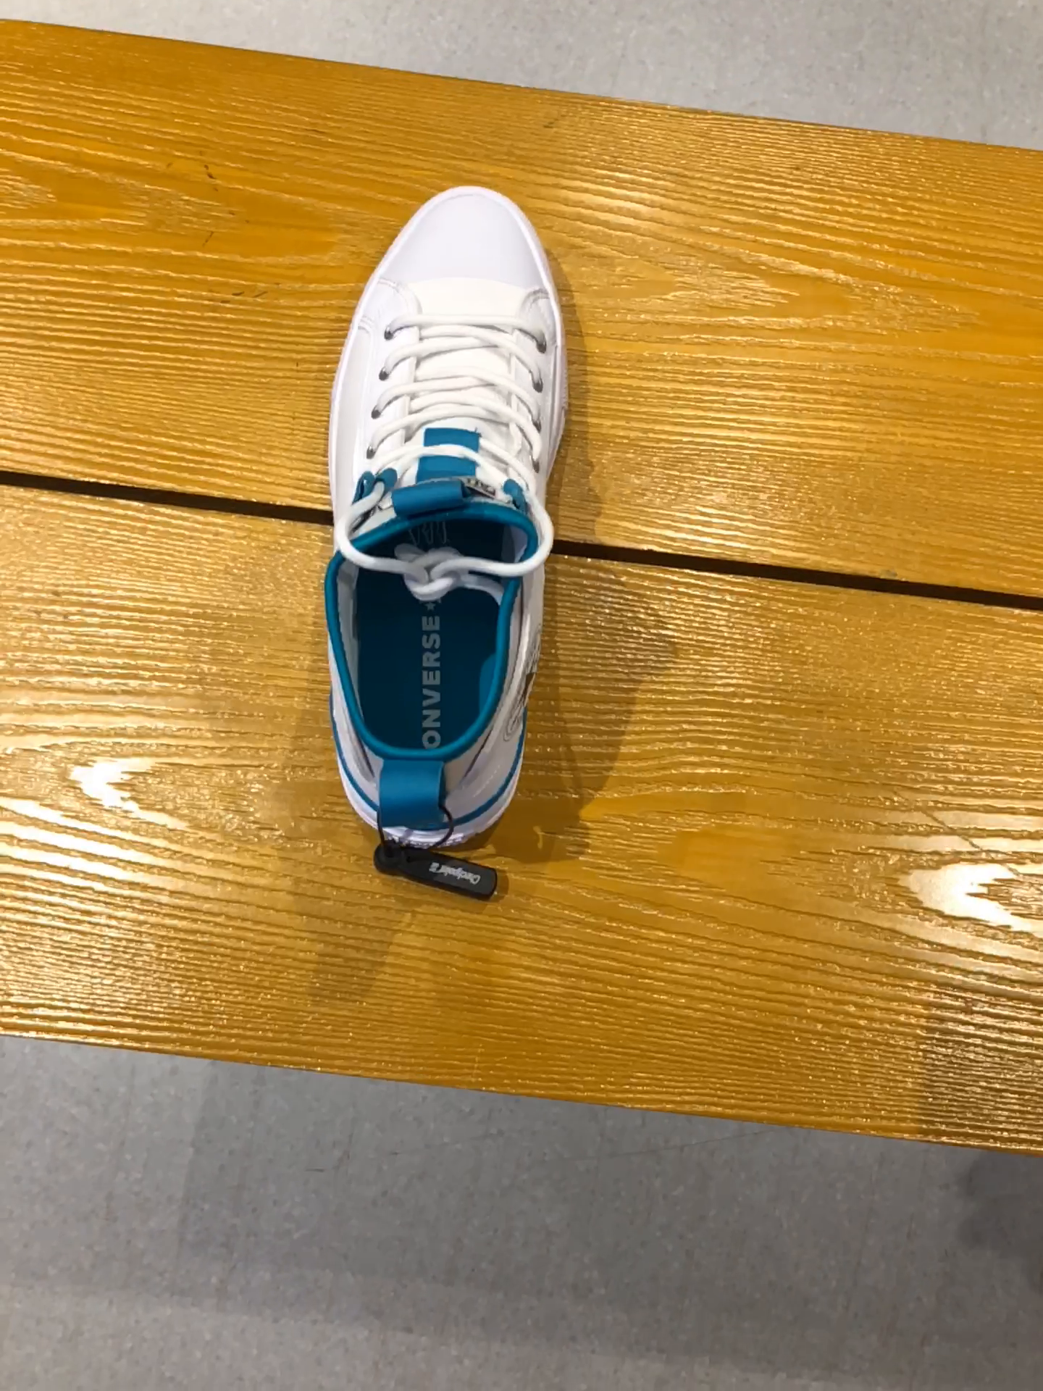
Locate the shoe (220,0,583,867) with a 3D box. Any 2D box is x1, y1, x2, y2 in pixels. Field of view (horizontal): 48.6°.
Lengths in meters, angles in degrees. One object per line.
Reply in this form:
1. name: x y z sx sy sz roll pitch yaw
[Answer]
1. shoe: -0.037 -0.085 0.453 0.108 0.158 0.294 1 78 -2
